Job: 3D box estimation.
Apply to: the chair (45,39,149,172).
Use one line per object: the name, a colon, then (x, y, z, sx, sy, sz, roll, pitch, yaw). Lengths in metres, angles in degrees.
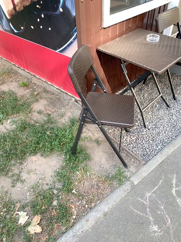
chair: (0.077, -0.091, 1.220, 0.470, 0.687, 0.472, 6, 44, 10)
